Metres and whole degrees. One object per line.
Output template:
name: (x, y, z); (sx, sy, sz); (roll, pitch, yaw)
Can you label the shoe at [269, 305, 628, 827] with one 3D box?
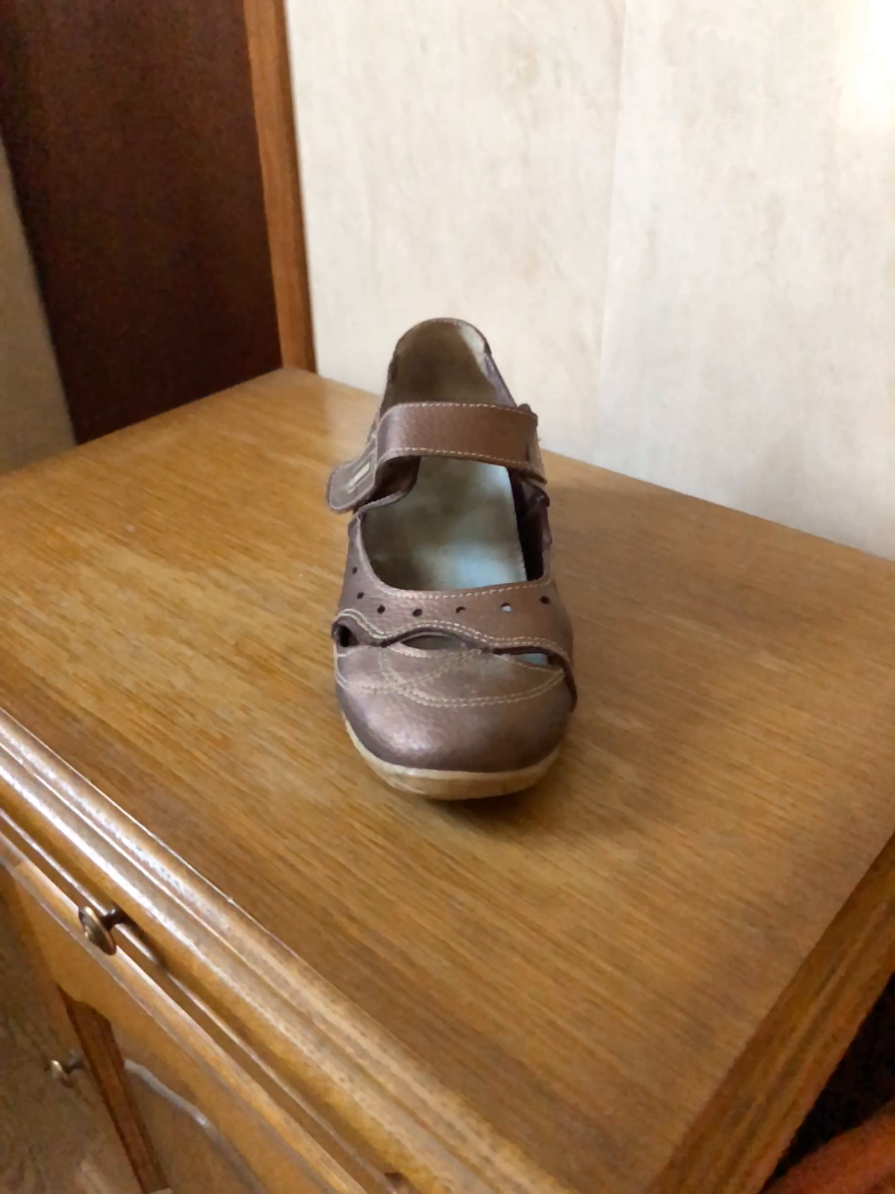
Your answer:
shoe: (-0.002, -0.036, 0.409); (0.100, 0.089, 0.262); (-2, 33, -1)
